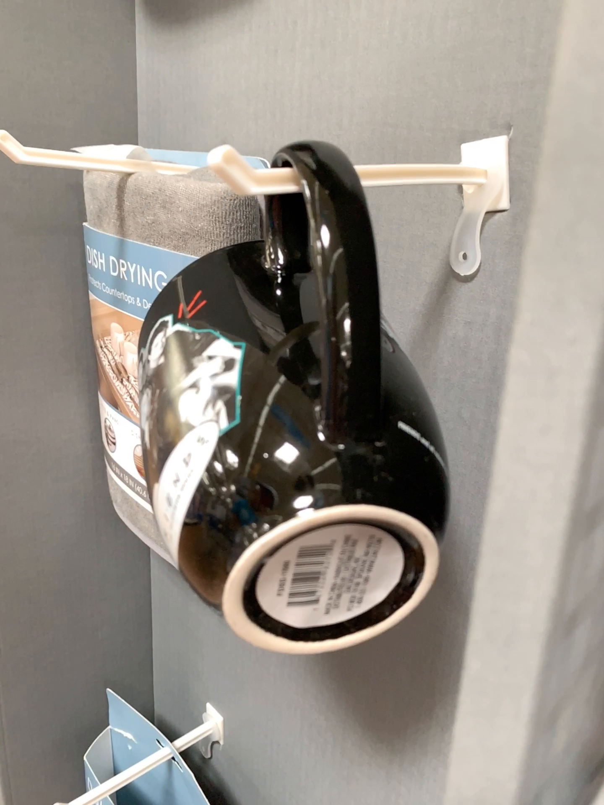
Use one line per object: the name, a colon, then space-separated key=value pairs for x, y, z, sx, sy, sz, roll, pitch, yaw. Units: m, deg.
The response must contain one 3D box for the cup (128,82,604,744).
cup: x=-0.002 y=-0.003 z=0.173 sx=0.086 sy=0.127 sz=0.116 roll=-1 pitch=36 yaw=-15
